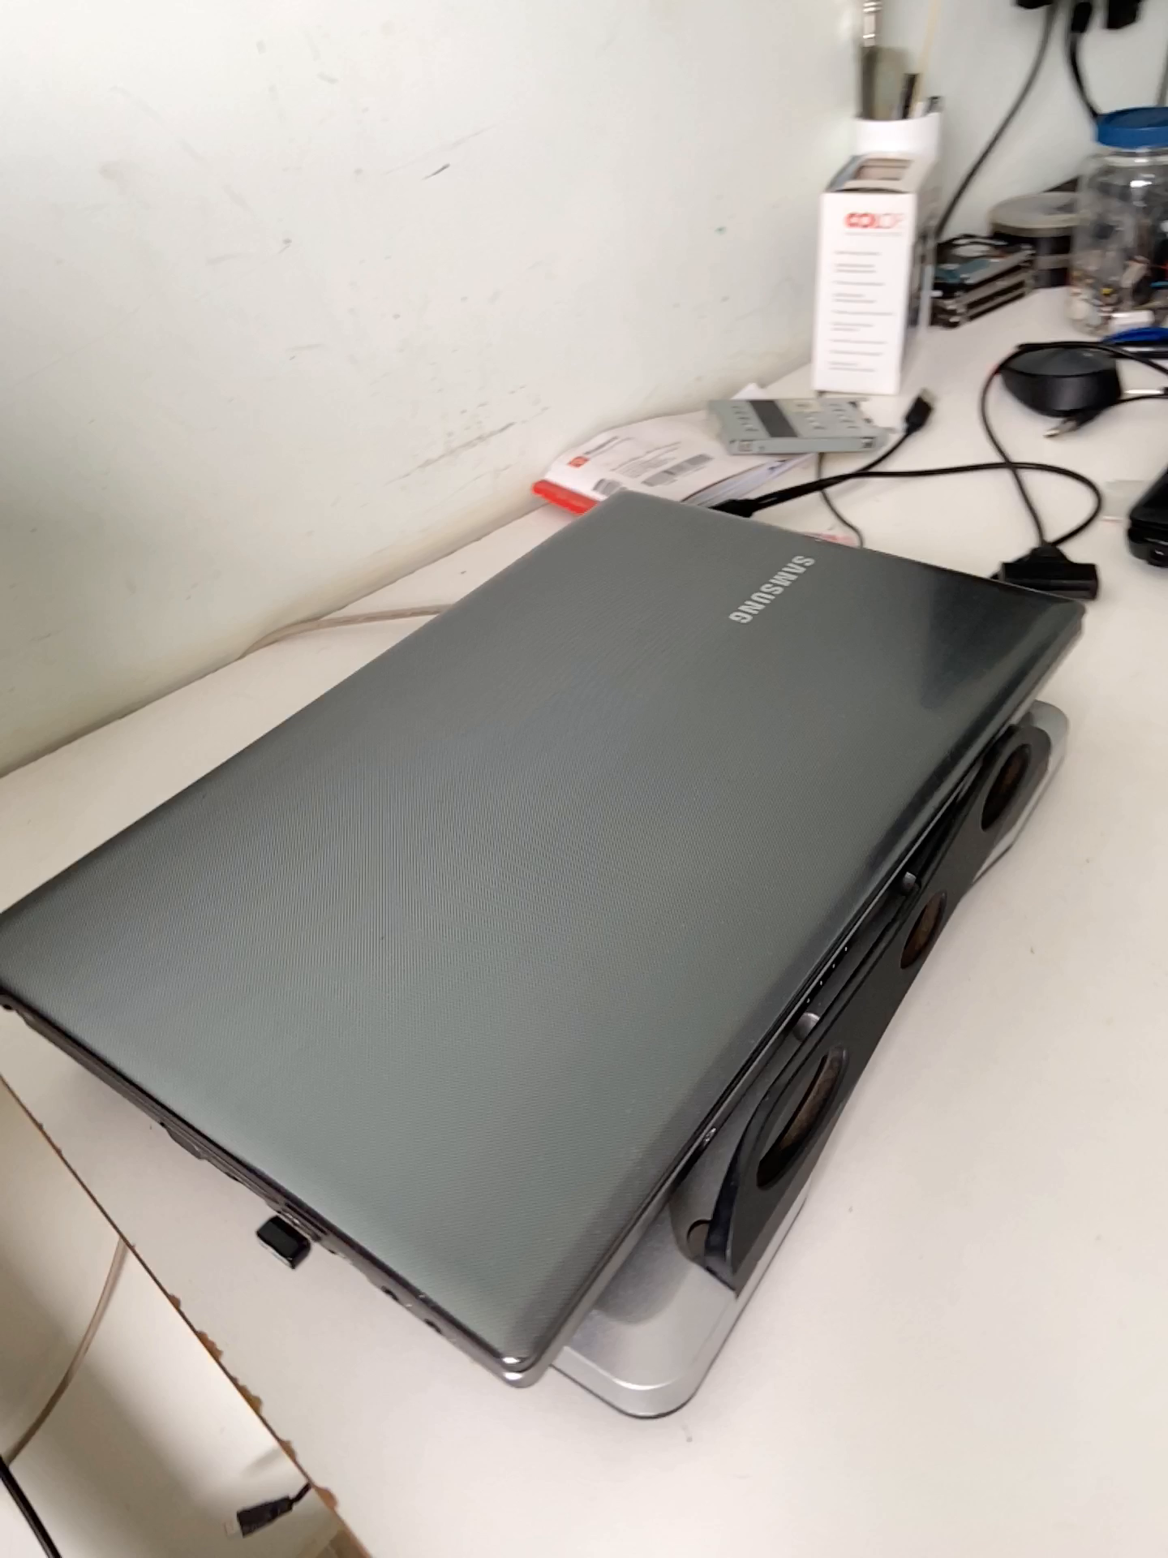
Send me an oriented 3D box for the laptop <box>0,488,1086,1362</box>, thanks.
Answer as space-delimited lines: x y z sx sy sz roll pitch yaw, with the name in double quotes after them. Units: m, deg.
0.003 -0.008 0.445 0.236 0.005 0.375 21 46 30 "laptop"
